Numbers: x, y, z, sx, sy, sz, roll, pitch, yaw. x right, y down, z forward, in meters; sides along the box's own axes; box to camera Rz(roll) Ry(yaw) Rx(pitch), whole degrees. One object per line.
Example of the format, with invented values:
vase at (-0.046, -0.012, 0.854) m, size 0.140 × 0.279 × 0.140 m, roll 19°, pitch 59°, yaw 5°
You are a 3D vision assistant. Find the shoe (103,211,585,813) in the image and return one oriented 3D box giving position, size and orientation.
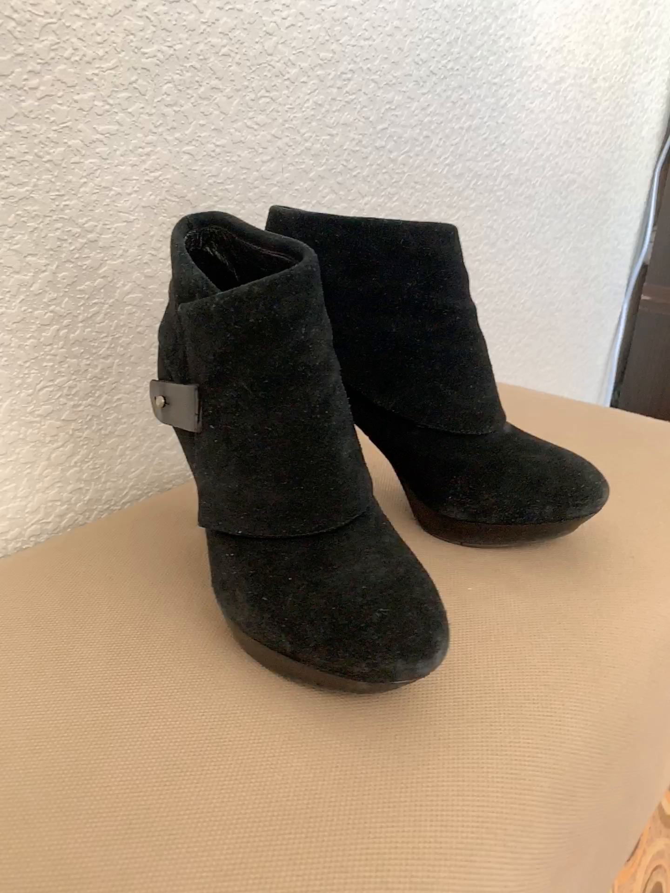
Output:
shoe at (-0.020, -0.001, 0.306) m, size 0.090 × 0.166 × 0.218 m, roll -13°, pitch 30°, yaw -27°

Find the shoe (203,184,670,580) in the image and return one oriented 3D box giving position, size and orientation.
shoe at (0.049, -0.048, 0.386) m, size 0.218 × 0.166 × 0.090 m, roll 12°, pitch 28°, yaw 22°
